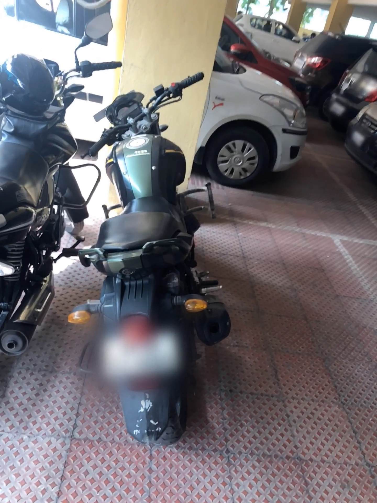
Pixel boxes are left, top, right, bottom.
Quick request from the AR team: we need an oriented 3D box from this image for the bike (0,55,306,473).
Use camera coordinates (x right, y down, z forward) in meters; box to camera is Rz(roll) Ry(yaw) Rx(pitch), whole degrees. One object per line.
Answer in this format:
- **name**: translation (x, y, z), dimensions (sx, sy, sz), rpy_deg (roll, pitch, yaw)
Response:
- **bike**: translation (-0.349, -0.166, 1.910), dimensions (0.739, 1.090, 1.817), rpy_deg (6, 29, -13)
